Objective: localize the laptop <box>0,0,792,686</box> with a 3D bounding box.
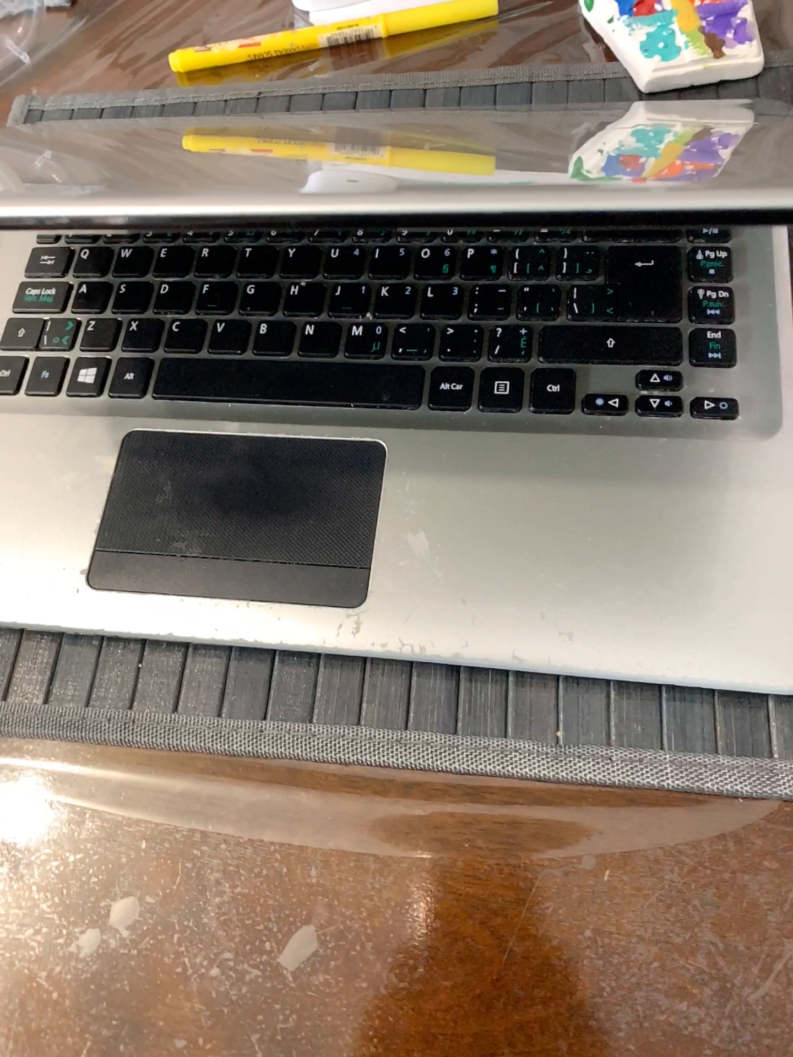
[{"bbox_3d":[-0.034,-0.091,0.262,0.343,0.141,0.225,3,69,10],"label":"laptop"}]
